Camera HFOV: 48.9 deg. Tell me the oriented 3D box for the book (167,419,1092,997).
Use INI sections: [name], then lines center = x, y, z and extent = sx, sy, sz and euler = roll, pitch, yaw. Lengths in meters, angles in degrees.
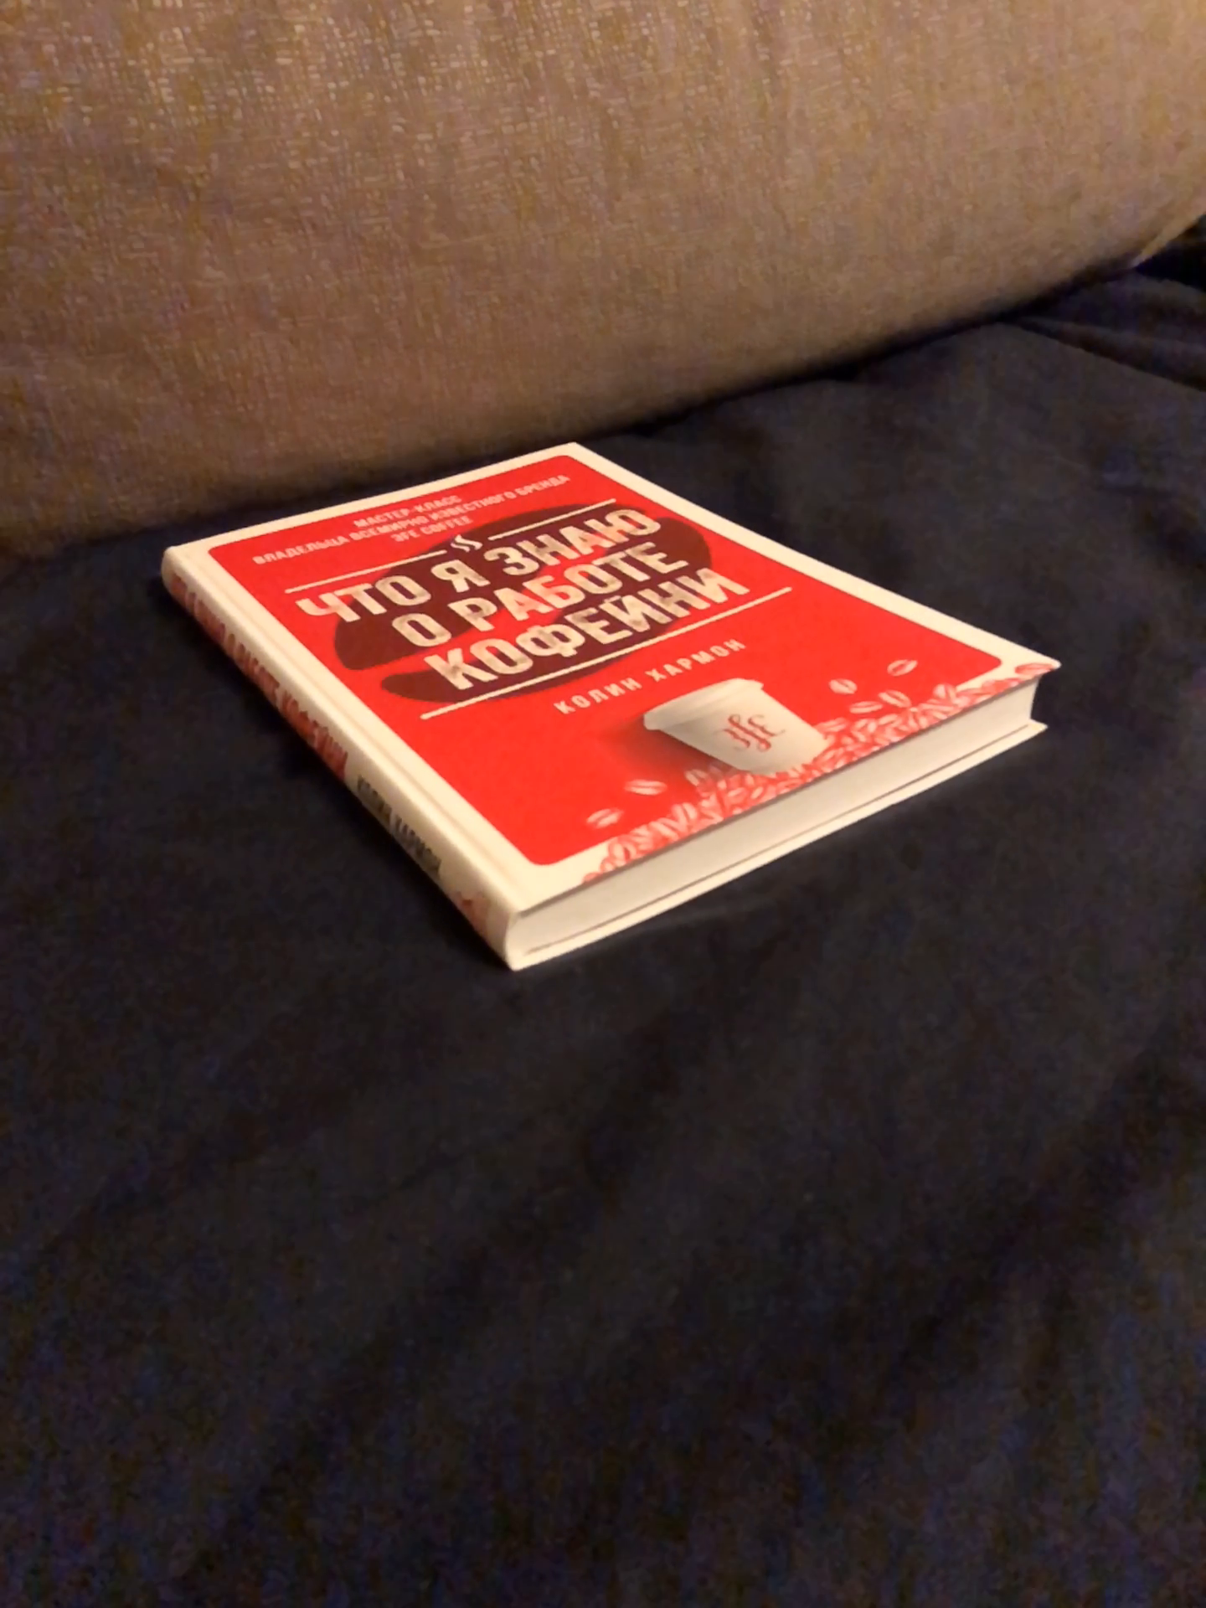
[book]
center = -0.009, -0.049, 0.363
extent = 0.153, 0.020, 0.223
euler = -23, 39, -24
